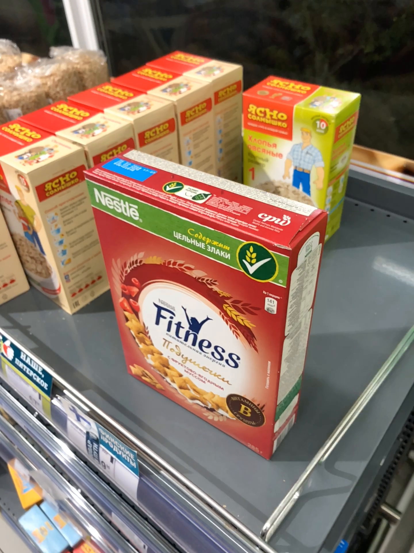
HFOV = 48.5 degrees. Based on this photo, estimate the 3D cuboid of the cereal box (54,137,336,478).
[{"bbox_3d":[-0.012,0.033,0.388,0.190,0.248,0.060,23,46,27],"label":"cereal box"}]
